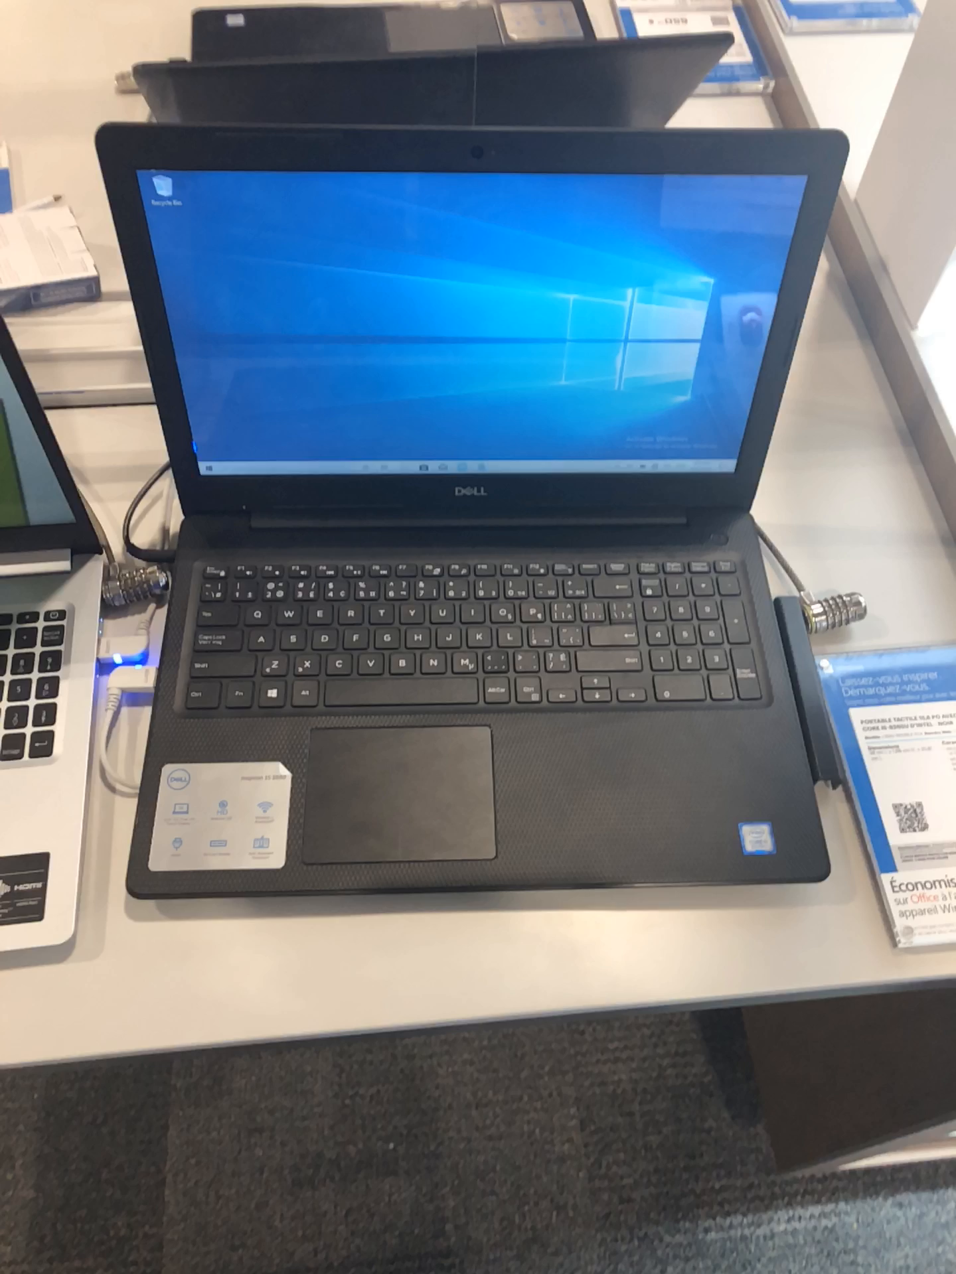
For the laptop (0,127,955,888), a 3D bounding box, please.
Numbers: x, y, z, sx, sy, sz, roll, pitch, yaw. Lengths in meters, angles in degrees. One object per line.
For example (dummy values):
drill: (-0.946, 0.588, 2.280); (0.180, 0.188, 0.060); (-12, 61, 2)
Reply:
laptop: (-0.002, -0.062, 0.545); (0.368, 0.231, 0.310); (-1, 58, -3)
